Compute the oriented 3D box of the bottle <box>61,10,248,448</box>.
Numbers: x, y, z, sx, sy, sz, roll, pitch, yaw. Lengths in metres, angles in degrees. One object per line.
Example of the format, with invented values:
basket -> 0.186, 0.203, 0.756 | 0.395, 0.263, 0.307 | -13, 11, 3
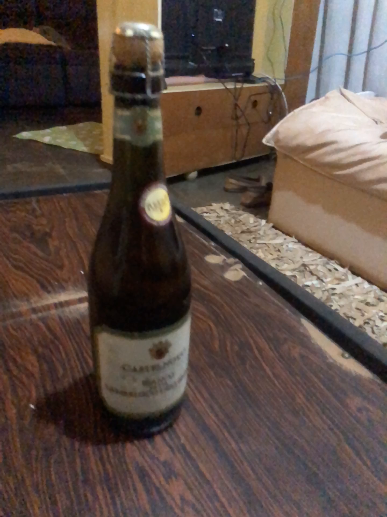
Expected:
bottle -> -0.035, -0.010, 0.321 | 0.090, 0.298, 0.090 | 2, 26, -1
